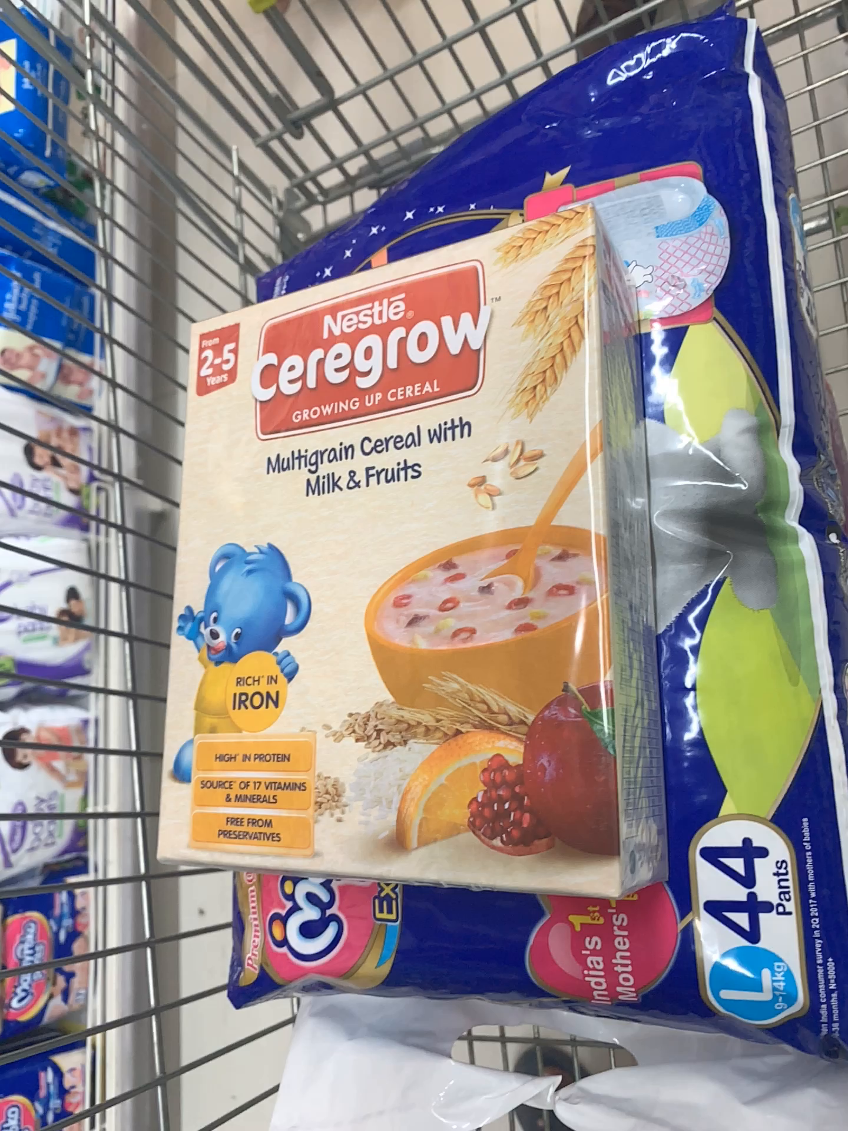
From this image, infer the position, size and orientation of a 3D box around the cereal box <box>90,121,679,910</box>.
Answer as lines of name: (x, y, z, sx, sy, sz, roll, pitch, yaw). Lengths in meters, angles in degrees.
cereal box: (-0.017, -0.008, 0.263, 0.161, 0.050, 0.190, -7, 76, 28)
